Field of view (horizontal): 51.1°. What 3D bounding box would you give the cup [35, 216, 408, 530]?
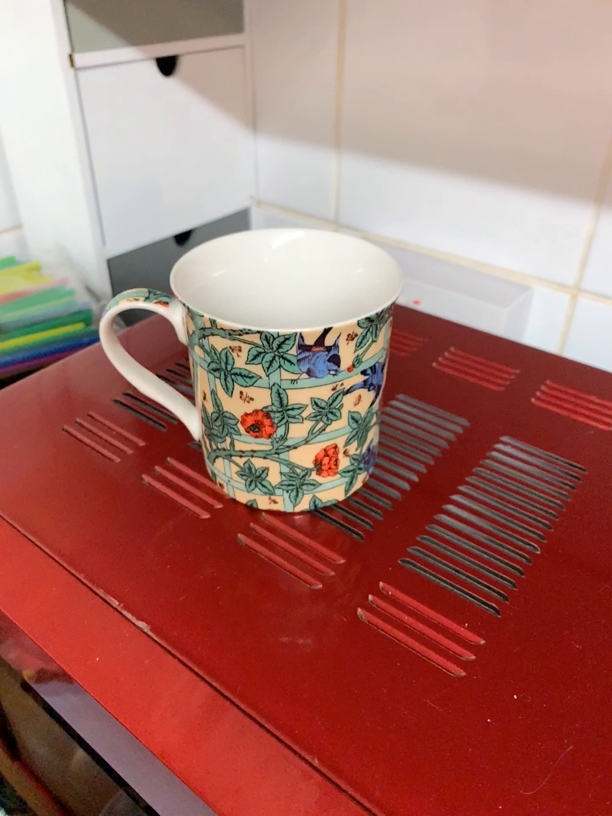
[{"bbox_3d":[-0.022,-0.017,0.241,0.110,0.079,0.081,4,36,5],"label":"cup"}]
